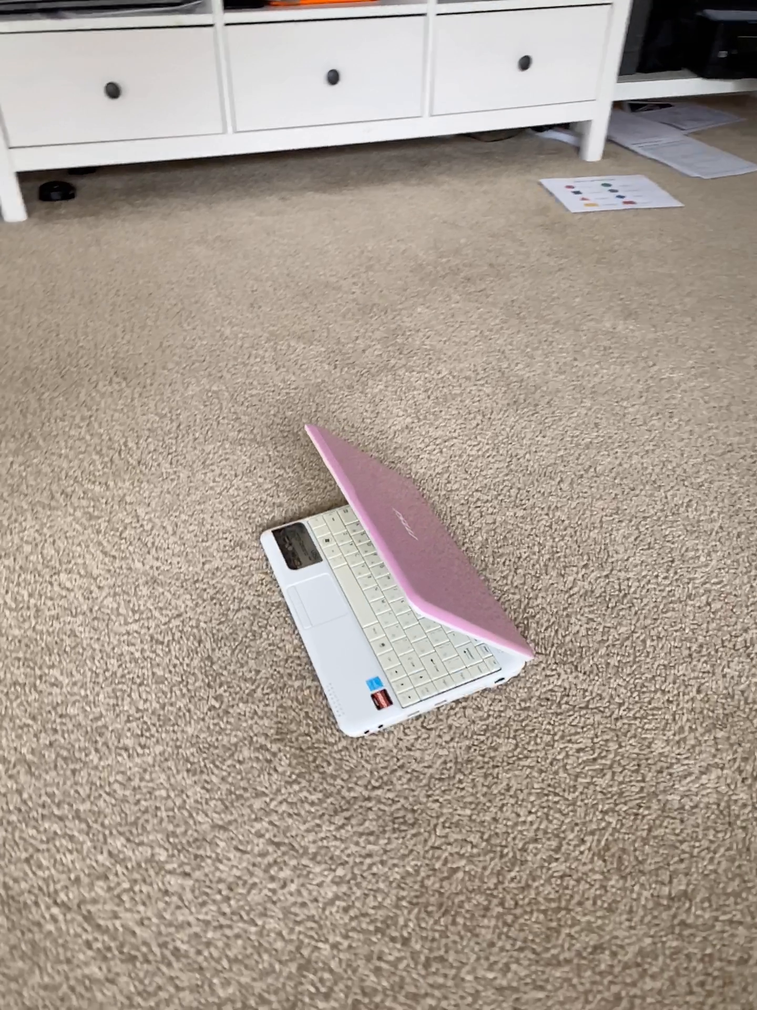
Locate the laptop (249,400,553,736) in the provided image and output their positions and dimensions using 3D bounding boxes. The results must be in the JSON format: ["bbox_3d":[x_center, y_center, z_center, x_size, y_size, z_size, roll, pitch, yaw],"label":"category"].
[{"bbox_3d":[0.005,0.045,0.781,0.193,0.125,0.291,-16,43,-16],"label":"laptop"}]
